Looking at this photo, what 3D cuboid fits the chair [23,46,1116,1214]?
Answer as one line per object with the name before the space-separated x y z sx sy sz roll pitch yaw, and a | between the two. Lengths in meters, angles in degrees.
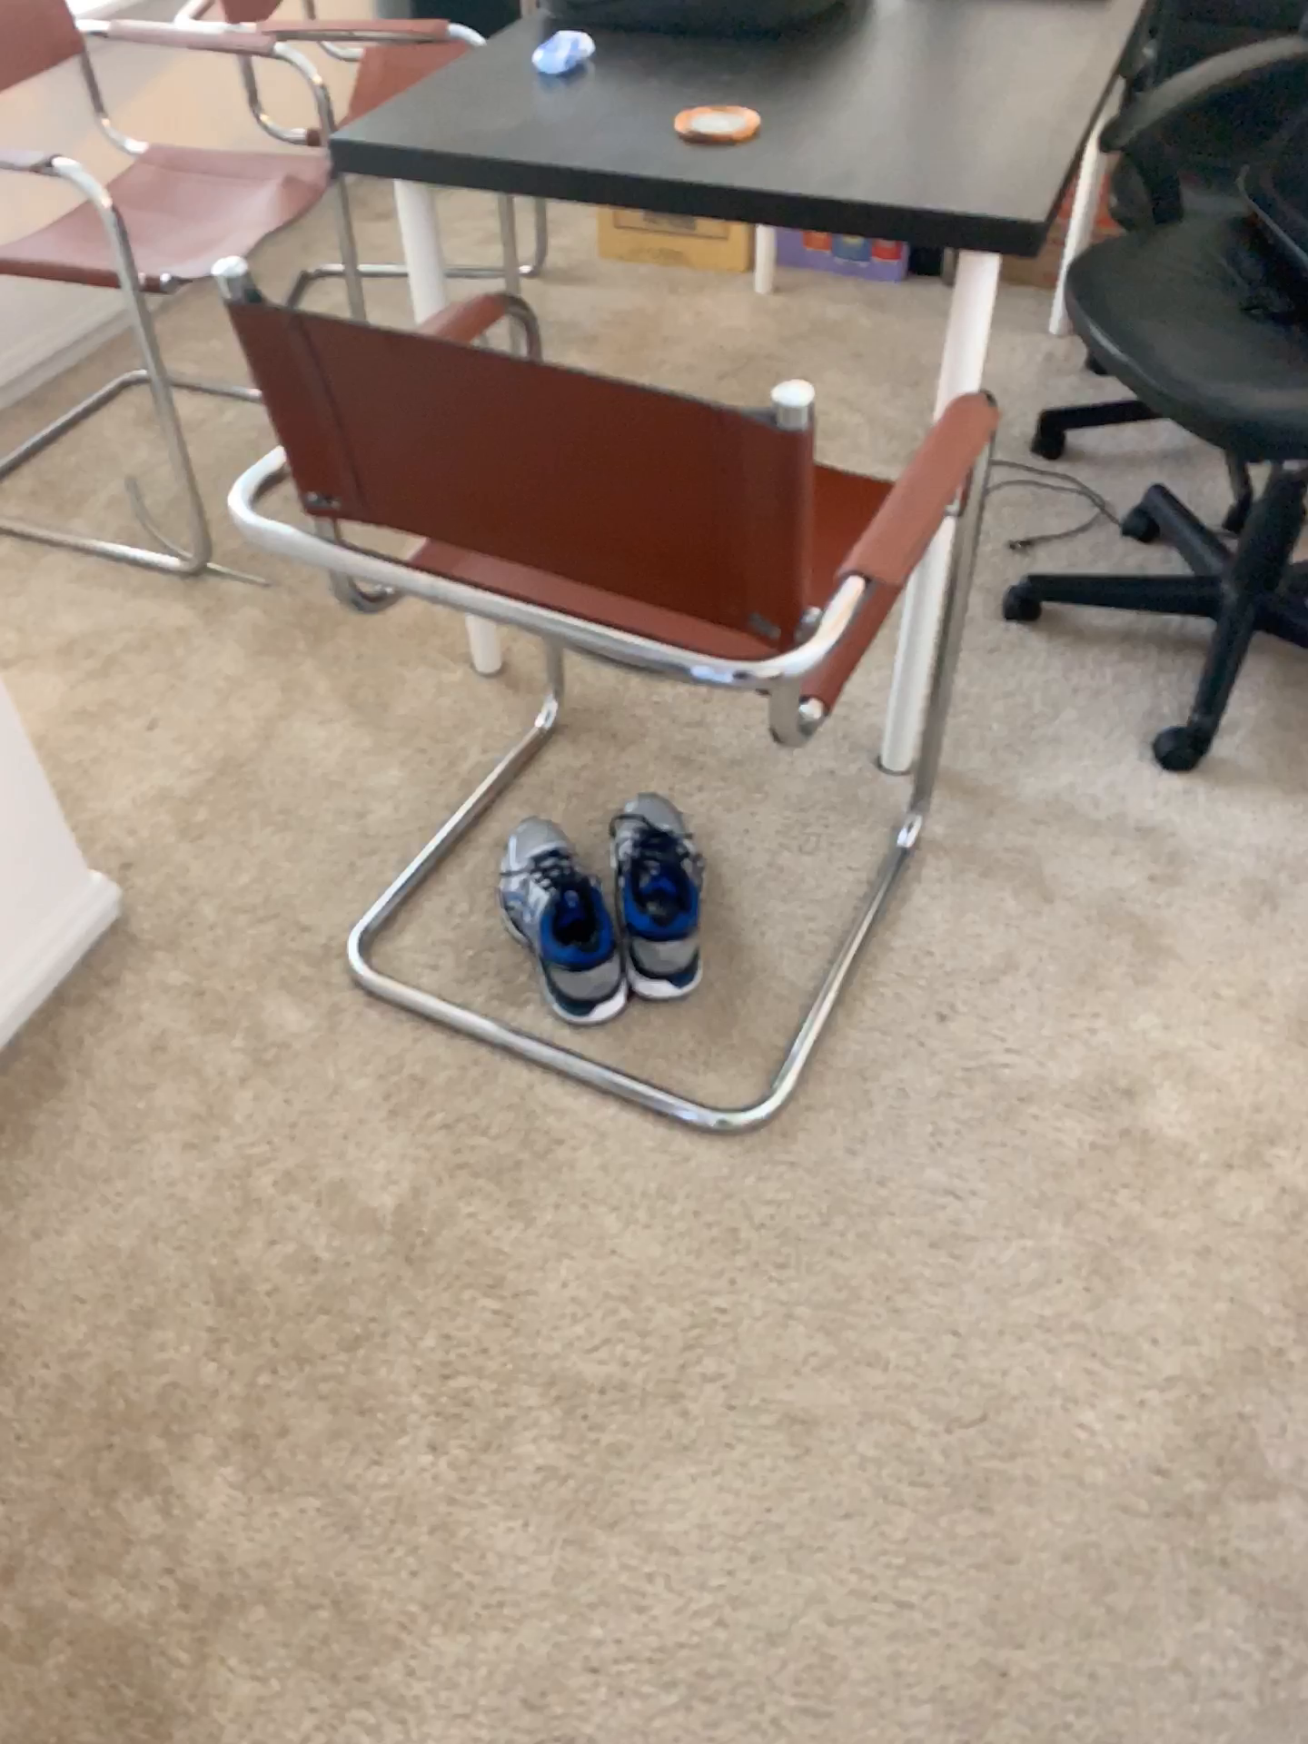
chair | -0.024 -0.242 1.310 0.621 0.806 0.622 20 49 19
